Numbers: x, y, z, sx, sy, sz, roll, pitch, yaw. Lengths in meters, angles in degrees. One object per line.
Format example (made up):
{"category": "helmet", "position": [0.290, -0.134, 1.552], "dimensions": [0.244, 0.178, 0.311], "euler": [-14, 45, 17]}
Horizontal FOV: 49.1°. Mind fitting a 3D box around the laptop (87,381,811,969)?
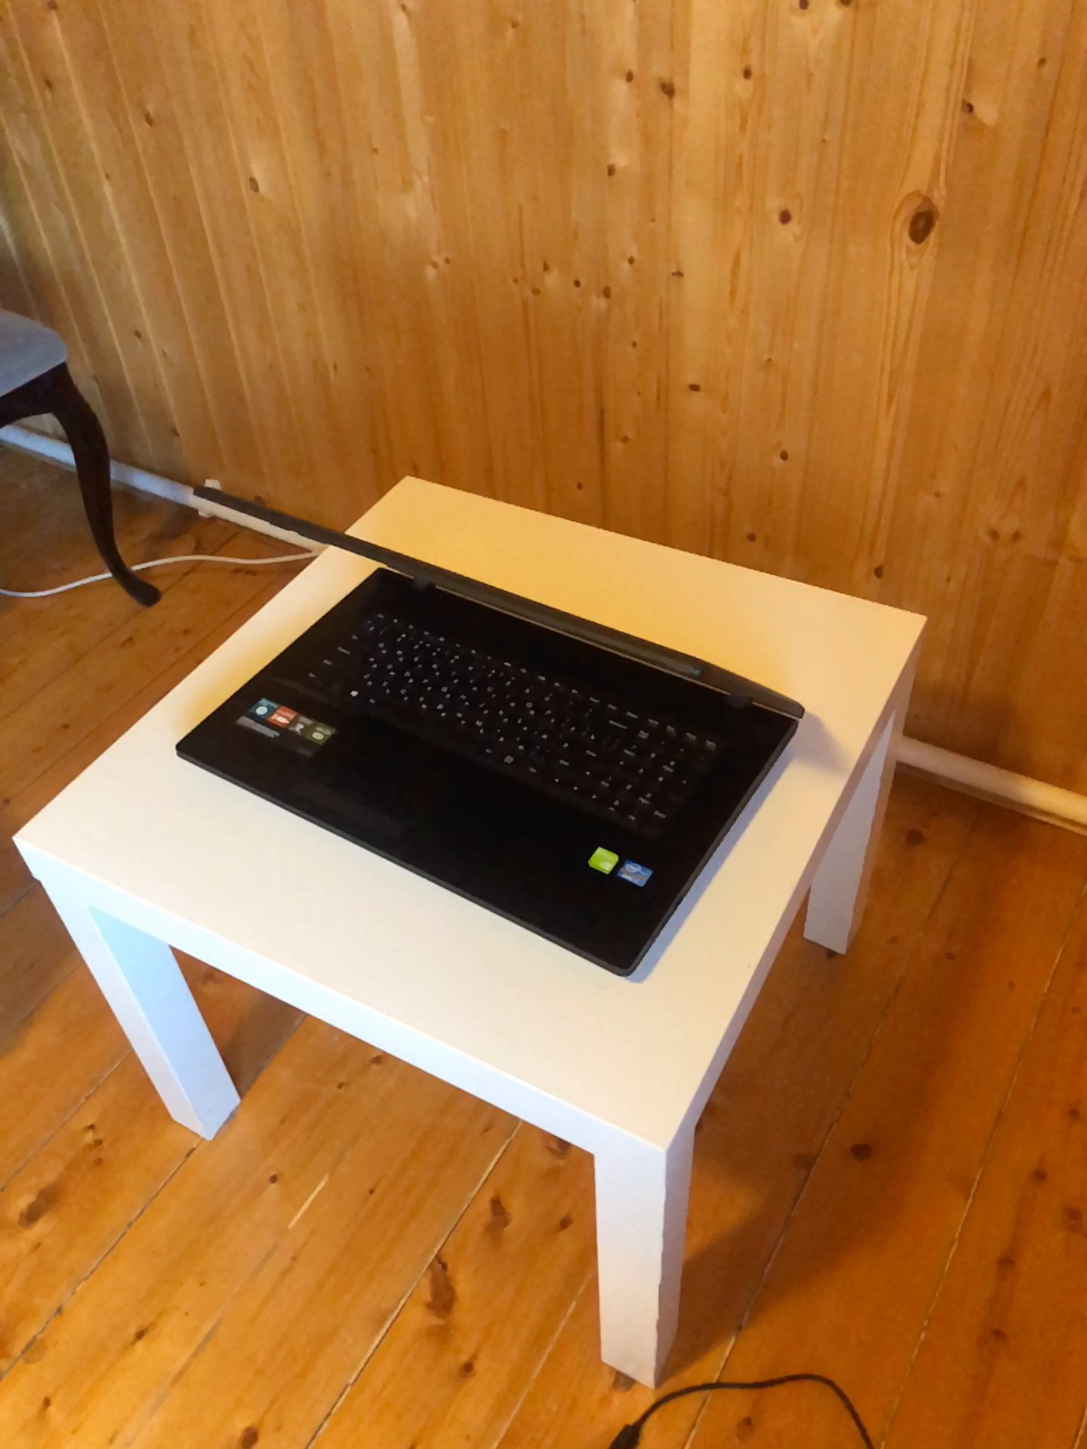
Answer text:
{"category": "laptop", "position": [-0.059, -0.056, 0.849], "dimensions": [0.402, 0.183, 0.252], "euler": [22, 50, 23]}
